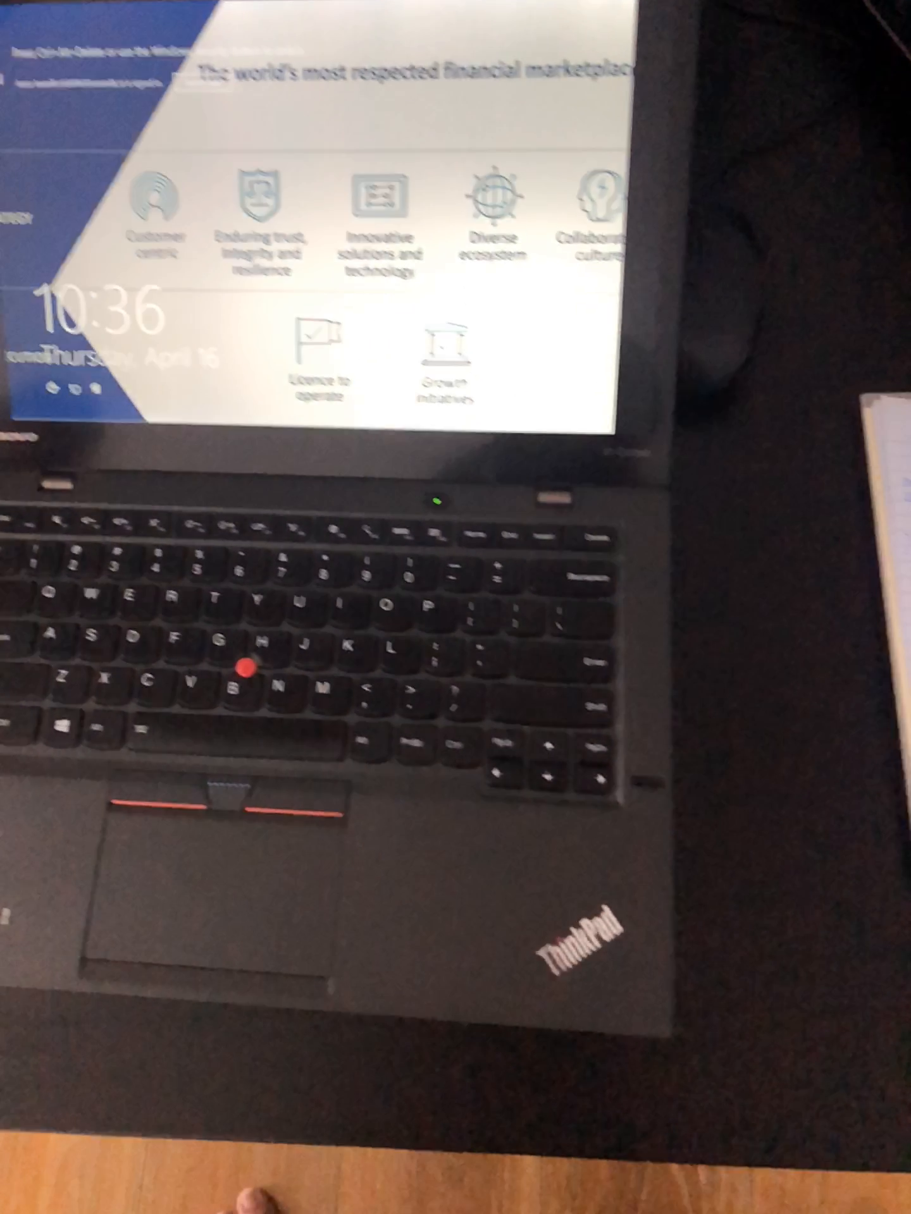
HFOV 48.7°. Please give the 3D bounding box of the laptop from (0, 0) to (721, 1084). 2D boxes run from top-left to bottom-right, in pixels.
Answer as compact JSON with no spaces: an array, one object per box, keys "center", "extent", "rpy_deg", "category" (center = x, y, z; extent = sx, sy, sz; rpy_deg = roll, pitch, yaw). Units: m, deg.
[{"center":[-0.074,-0.053,0.386],"extent":[0.322,0.117,0.388],"rpy_deg":[3,73,5],"category":"laptop"}]
